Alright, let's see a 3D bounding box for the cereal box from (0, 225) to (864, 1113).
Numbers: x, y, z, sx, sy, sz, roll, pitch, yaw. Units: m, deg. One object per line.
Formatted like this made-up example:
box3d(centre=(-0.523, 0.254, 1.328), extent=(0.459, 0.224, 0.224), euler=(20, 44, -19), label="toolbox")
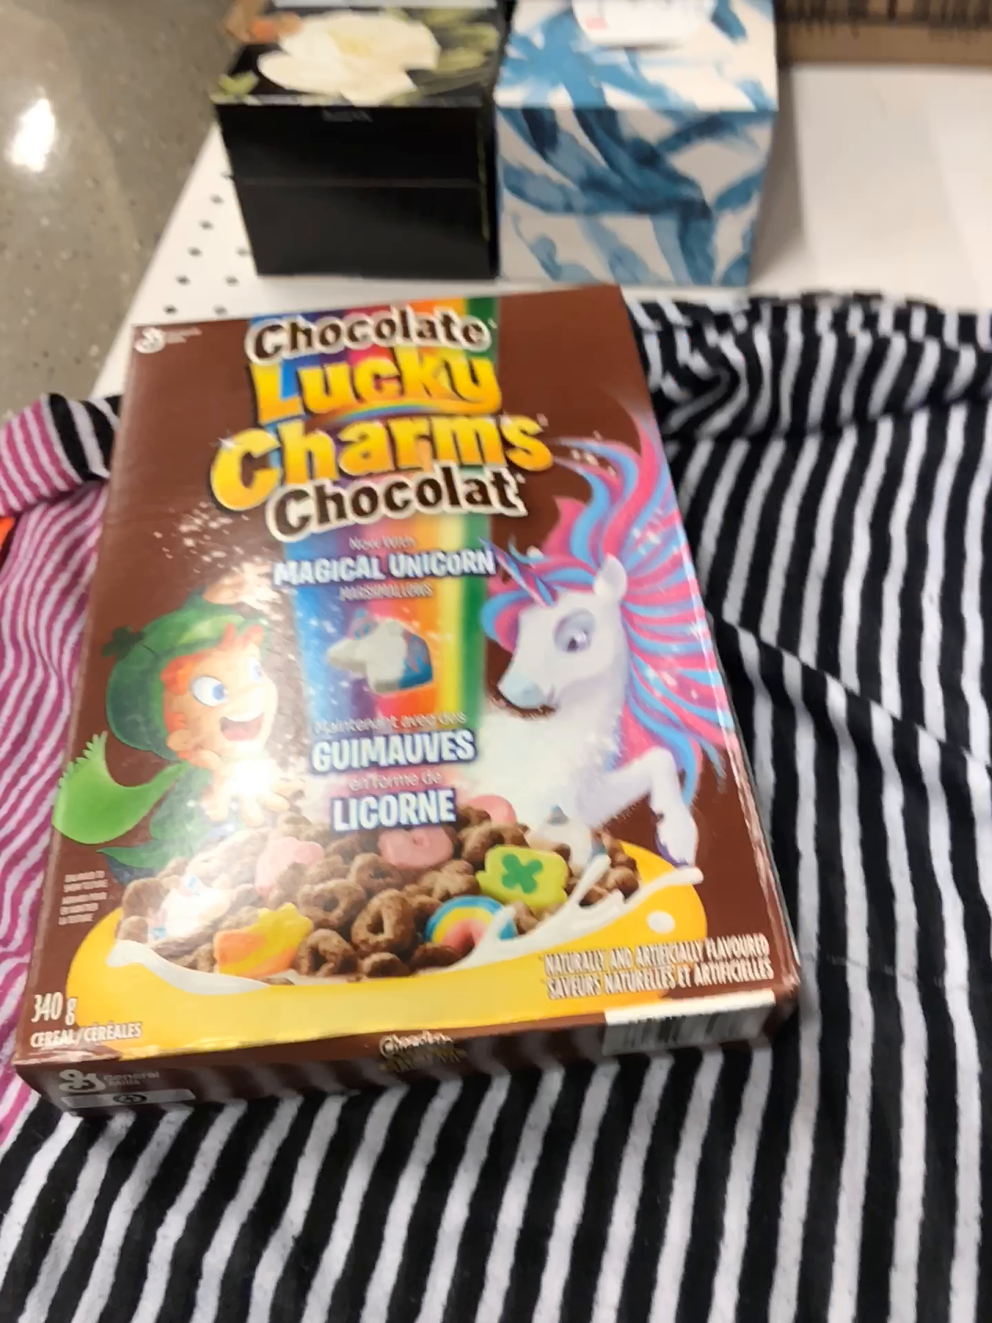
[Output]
box3d(centre=(-0.030, -0.021, 0.369), extent=(0.210, 0.060, 0.290), euler=(-6, 57, -2), label="cereal box")
